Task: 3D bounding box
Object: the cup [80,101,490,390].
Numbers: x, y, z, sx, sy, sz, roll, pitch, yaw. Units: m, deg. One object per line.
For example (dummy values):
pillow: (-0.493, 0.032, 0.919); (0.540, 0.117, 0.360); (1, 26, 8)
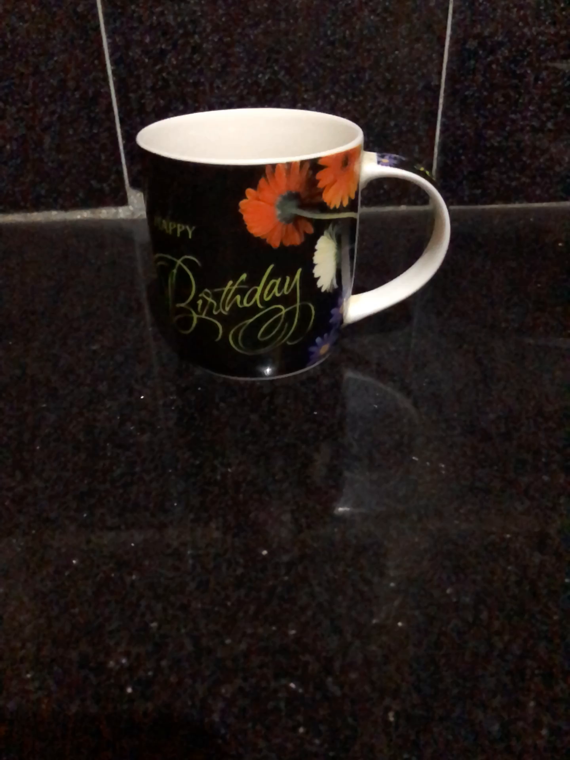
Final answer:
cup: (0.001, -0.059, 0.263); (0.130, 0.089, 0.091); (0, 34, 1)
